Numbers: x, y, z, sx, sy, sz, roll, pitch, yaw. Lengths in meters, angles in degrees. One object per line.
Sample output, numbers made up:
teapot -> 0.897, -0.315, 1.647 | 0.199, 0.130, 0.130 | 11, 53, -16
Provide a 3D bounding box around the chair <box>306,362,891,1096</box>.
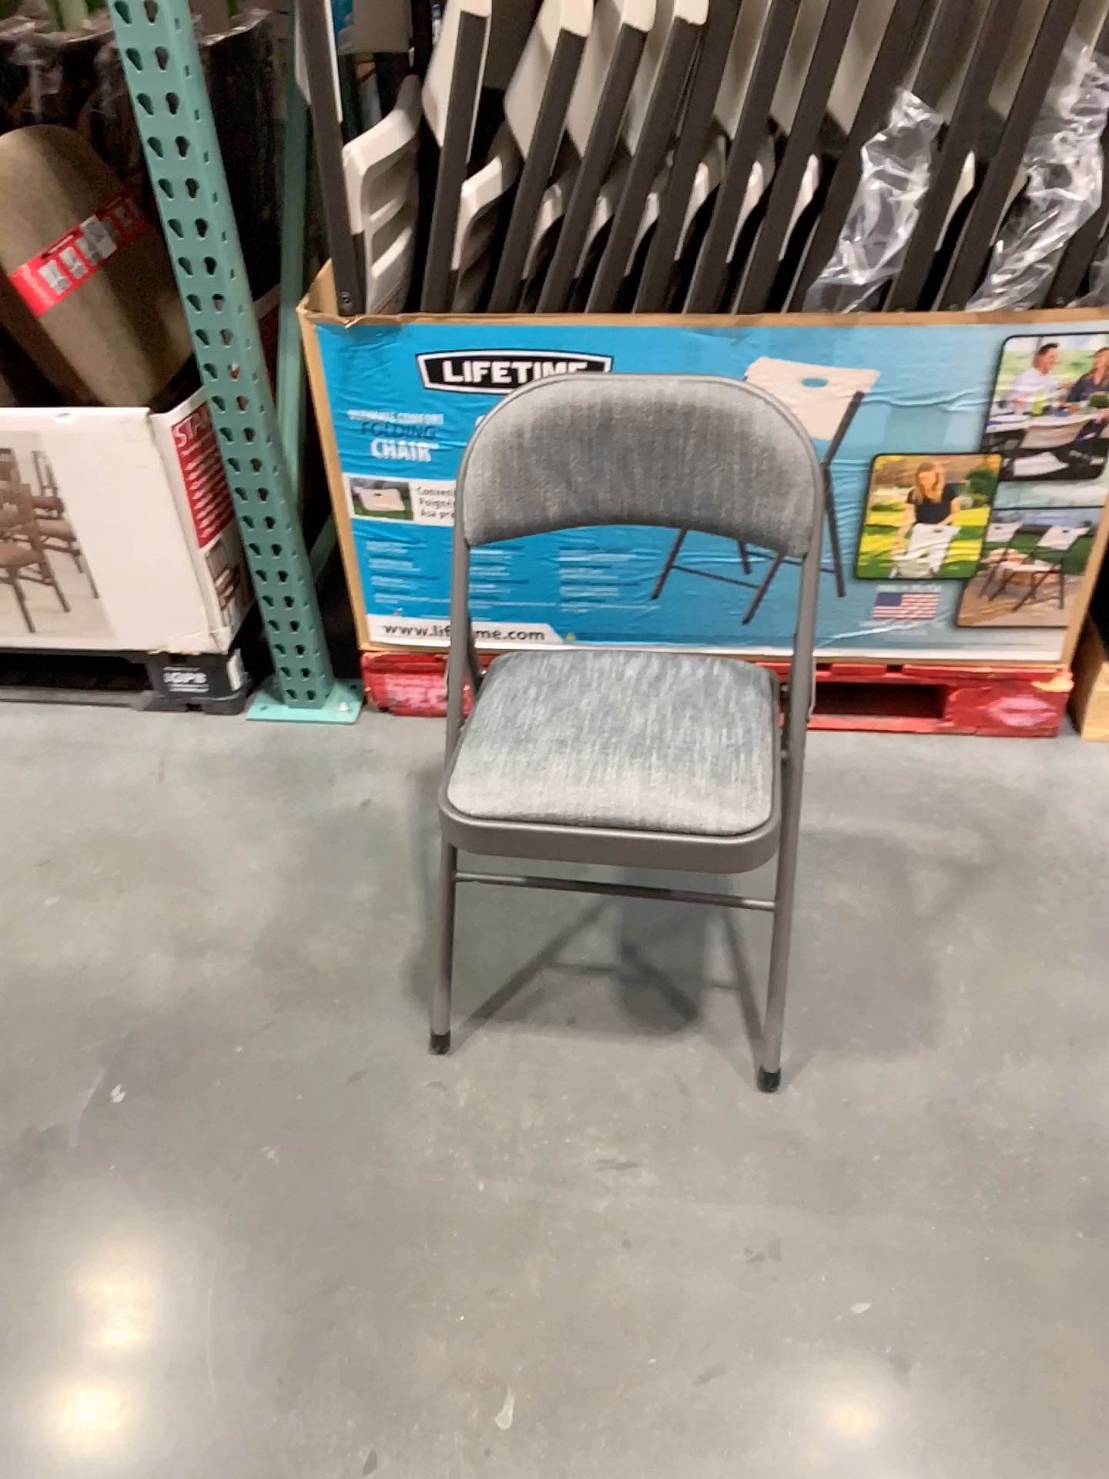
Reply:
chair -> 0.077, -0.014, 1.362 | 0.494, 0.687, 0.505 | 4, 40, 8
